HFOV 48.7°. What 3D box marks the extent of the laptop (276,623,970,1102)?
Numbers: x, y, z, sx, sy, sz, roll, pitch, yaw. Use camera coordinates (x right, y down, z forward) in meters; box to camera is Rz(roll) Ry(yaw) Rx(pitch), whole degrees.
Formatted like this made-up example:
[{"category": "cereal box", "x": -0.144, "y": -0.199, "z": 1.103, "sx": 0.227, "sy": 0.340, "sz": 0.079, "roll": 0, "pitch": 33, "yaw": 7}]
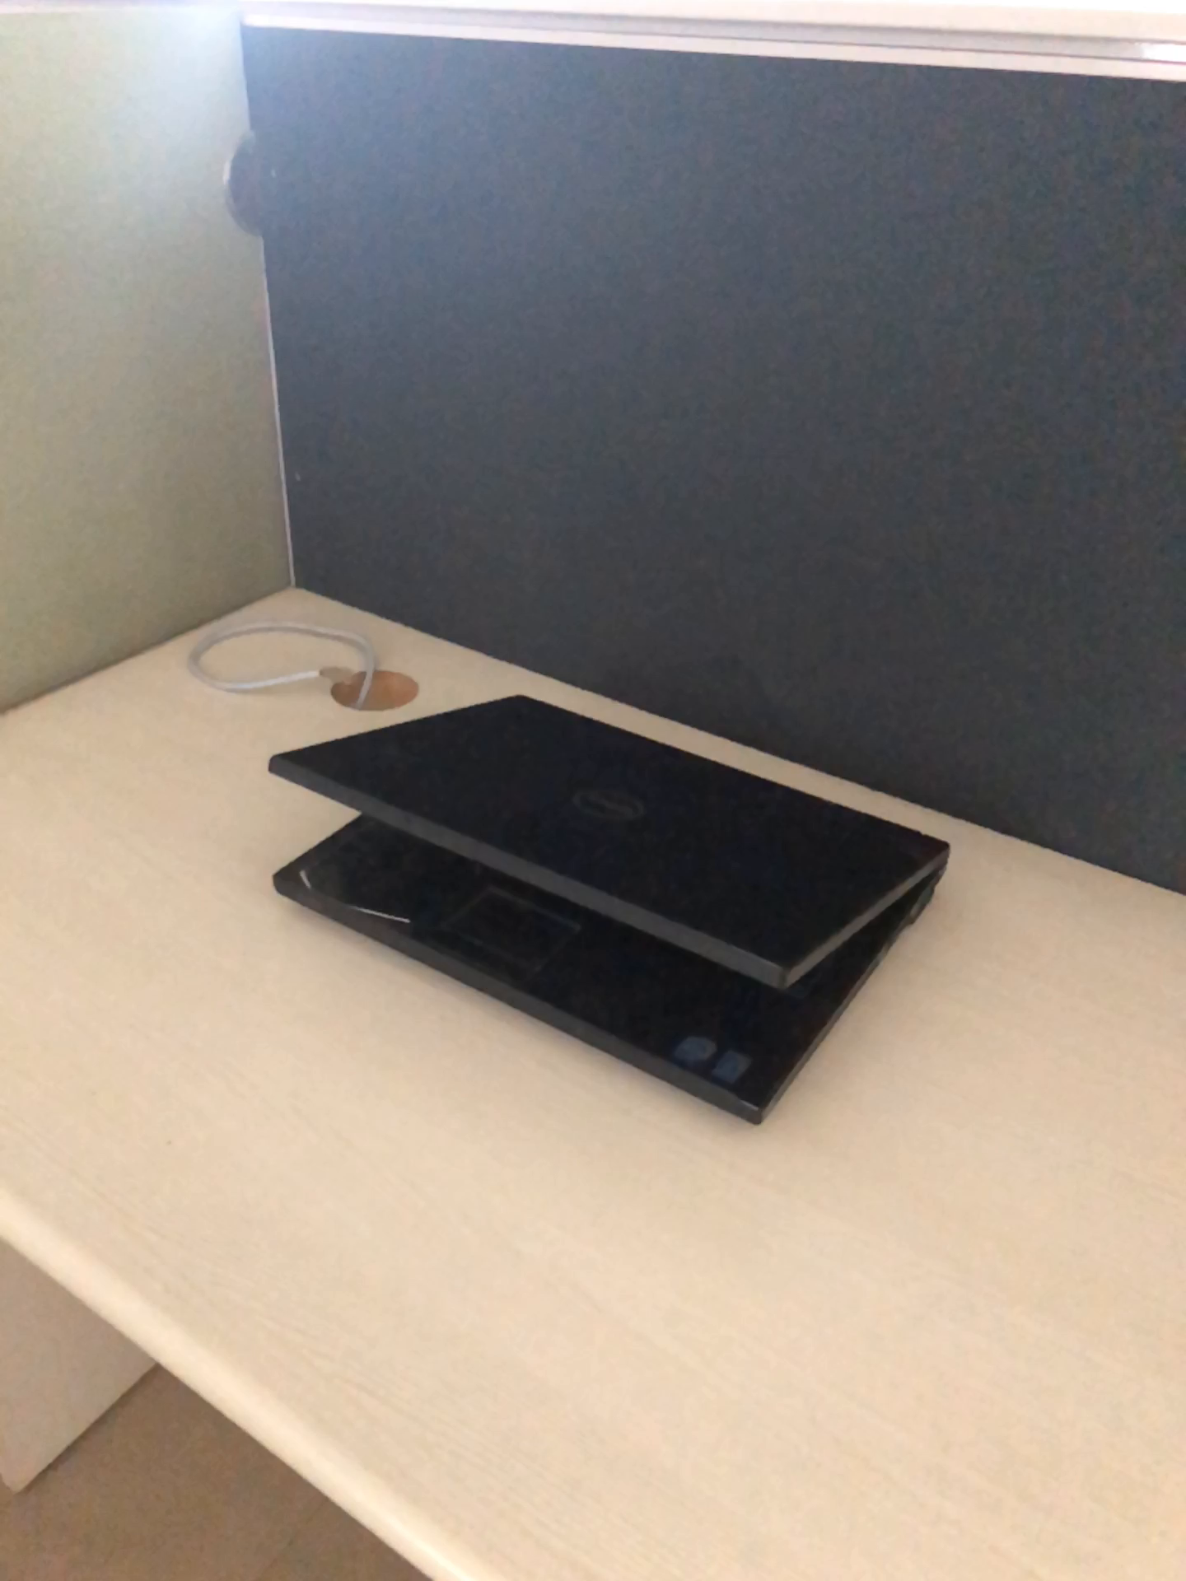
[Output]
[{"category": "laptop", "x": 0.019, "y": 0.016, "z": 0.735, "sx": 0.303, "sy": 0.064, "sz": 0.231, "roll": 20, "pitch": 38, "yaw": 27}]
